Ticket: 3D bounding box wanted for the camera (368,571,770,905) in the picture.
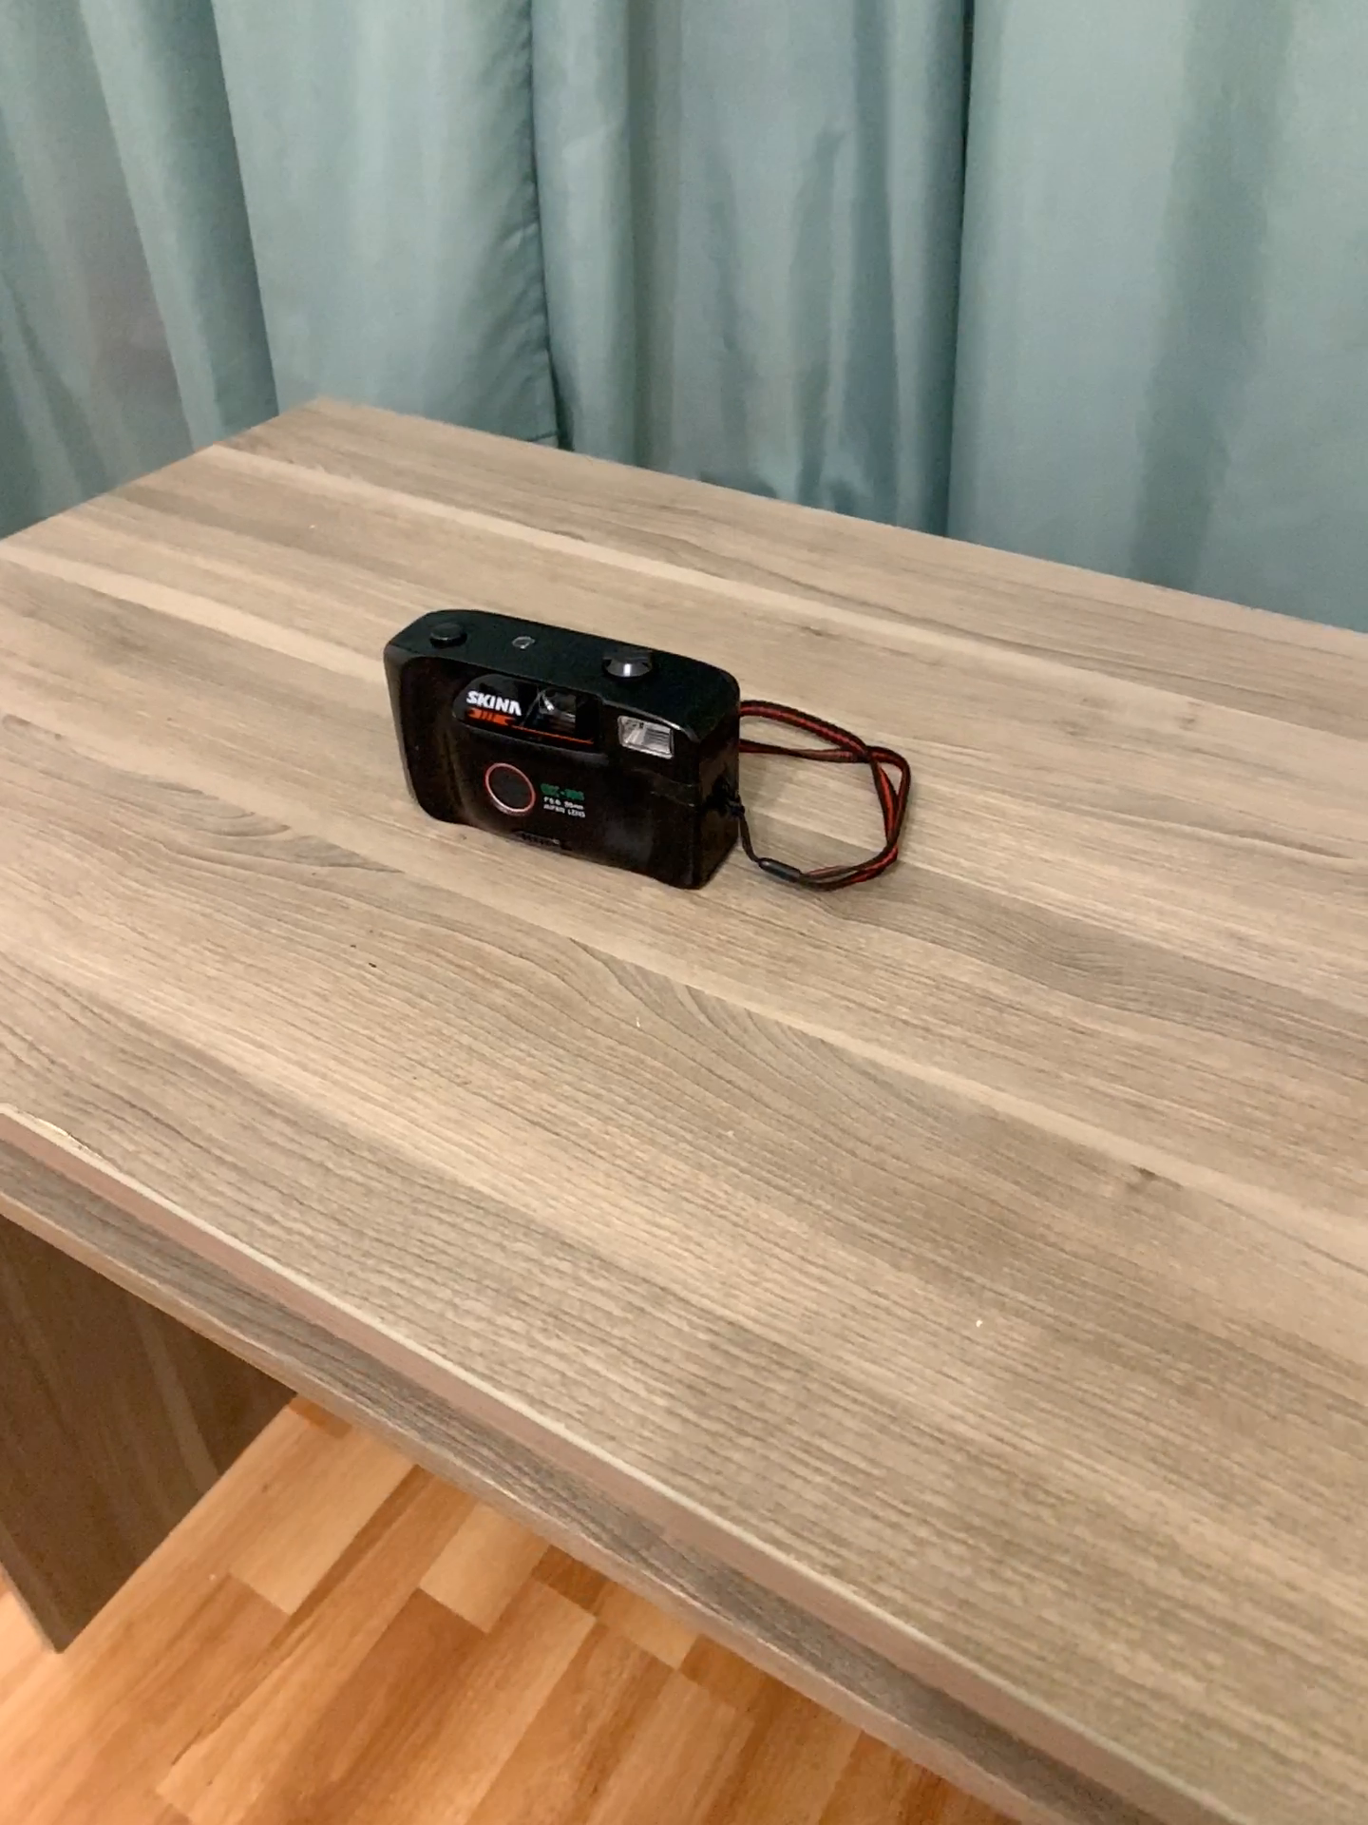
[{"bbox_3d":[-0.037,-0.060,0.465,0.120,0.069,0.046,18,40,20],"label":"camera"}]
